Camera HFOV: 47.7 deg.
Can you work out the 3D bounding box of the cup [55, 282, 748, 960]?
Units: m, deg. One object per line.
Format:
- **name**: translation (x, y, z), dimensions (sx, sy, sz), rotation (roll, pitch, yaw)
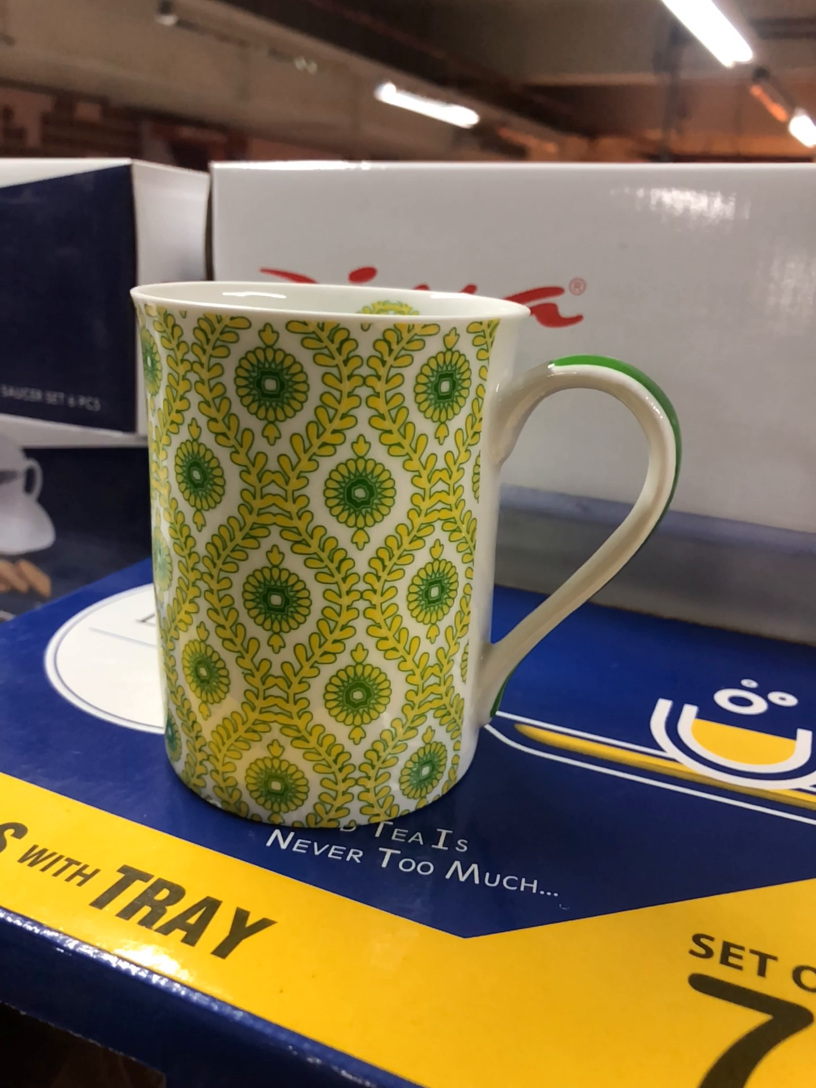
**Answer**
- **cup**: translation (0.000, 0.001, 0.174), dimensions (0.100, 0.090, 0.070), rotation (12, 20, 25)
